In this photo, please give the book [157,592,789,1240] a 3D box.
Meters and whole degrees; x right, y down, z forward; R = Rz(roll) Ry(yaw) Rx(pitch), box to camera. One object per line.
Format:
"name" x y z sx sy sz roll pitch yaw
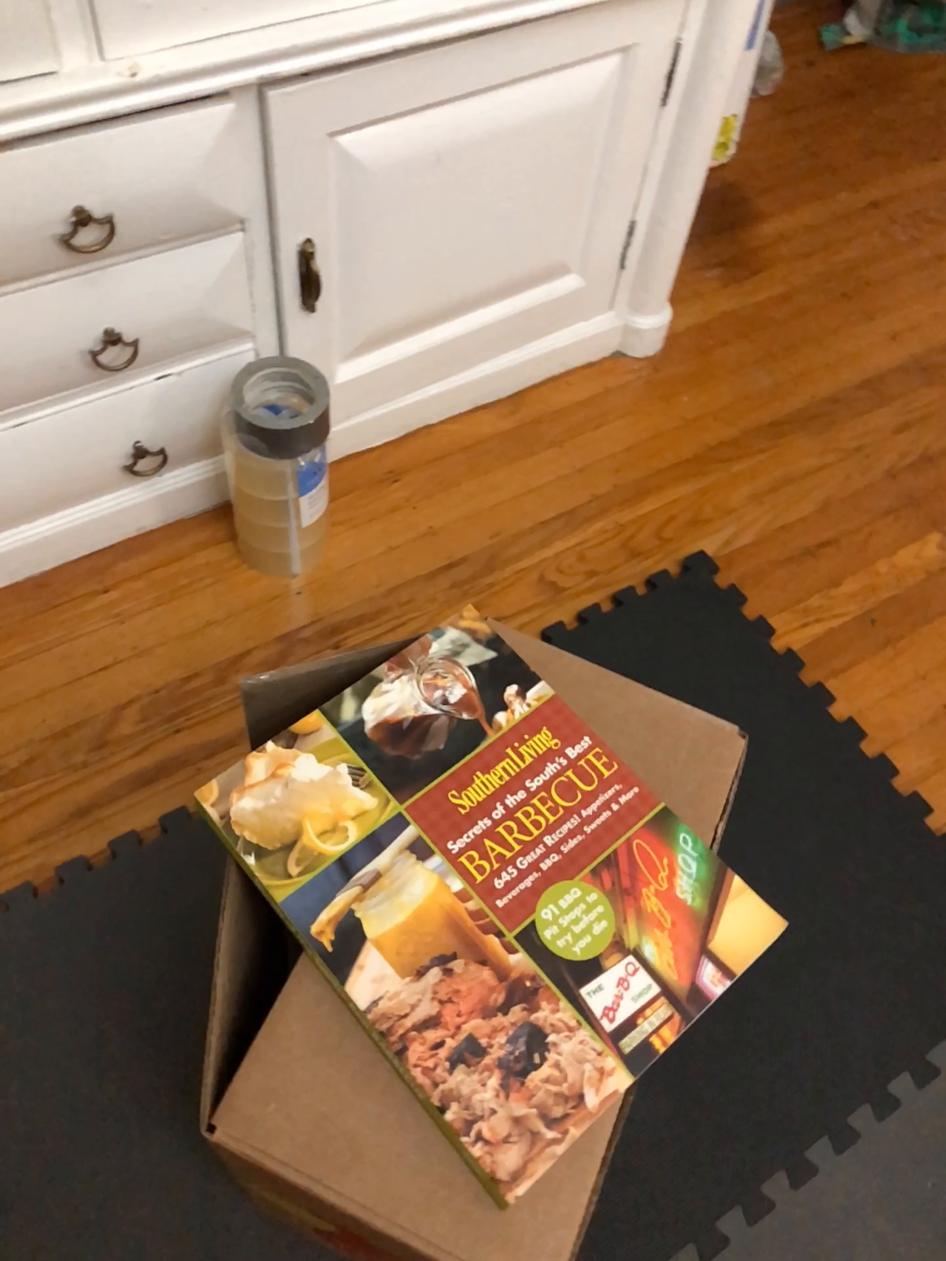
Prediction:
"book" -0.003 0.135 0.590 0.221 0.020 0.290 -34 67 -24
